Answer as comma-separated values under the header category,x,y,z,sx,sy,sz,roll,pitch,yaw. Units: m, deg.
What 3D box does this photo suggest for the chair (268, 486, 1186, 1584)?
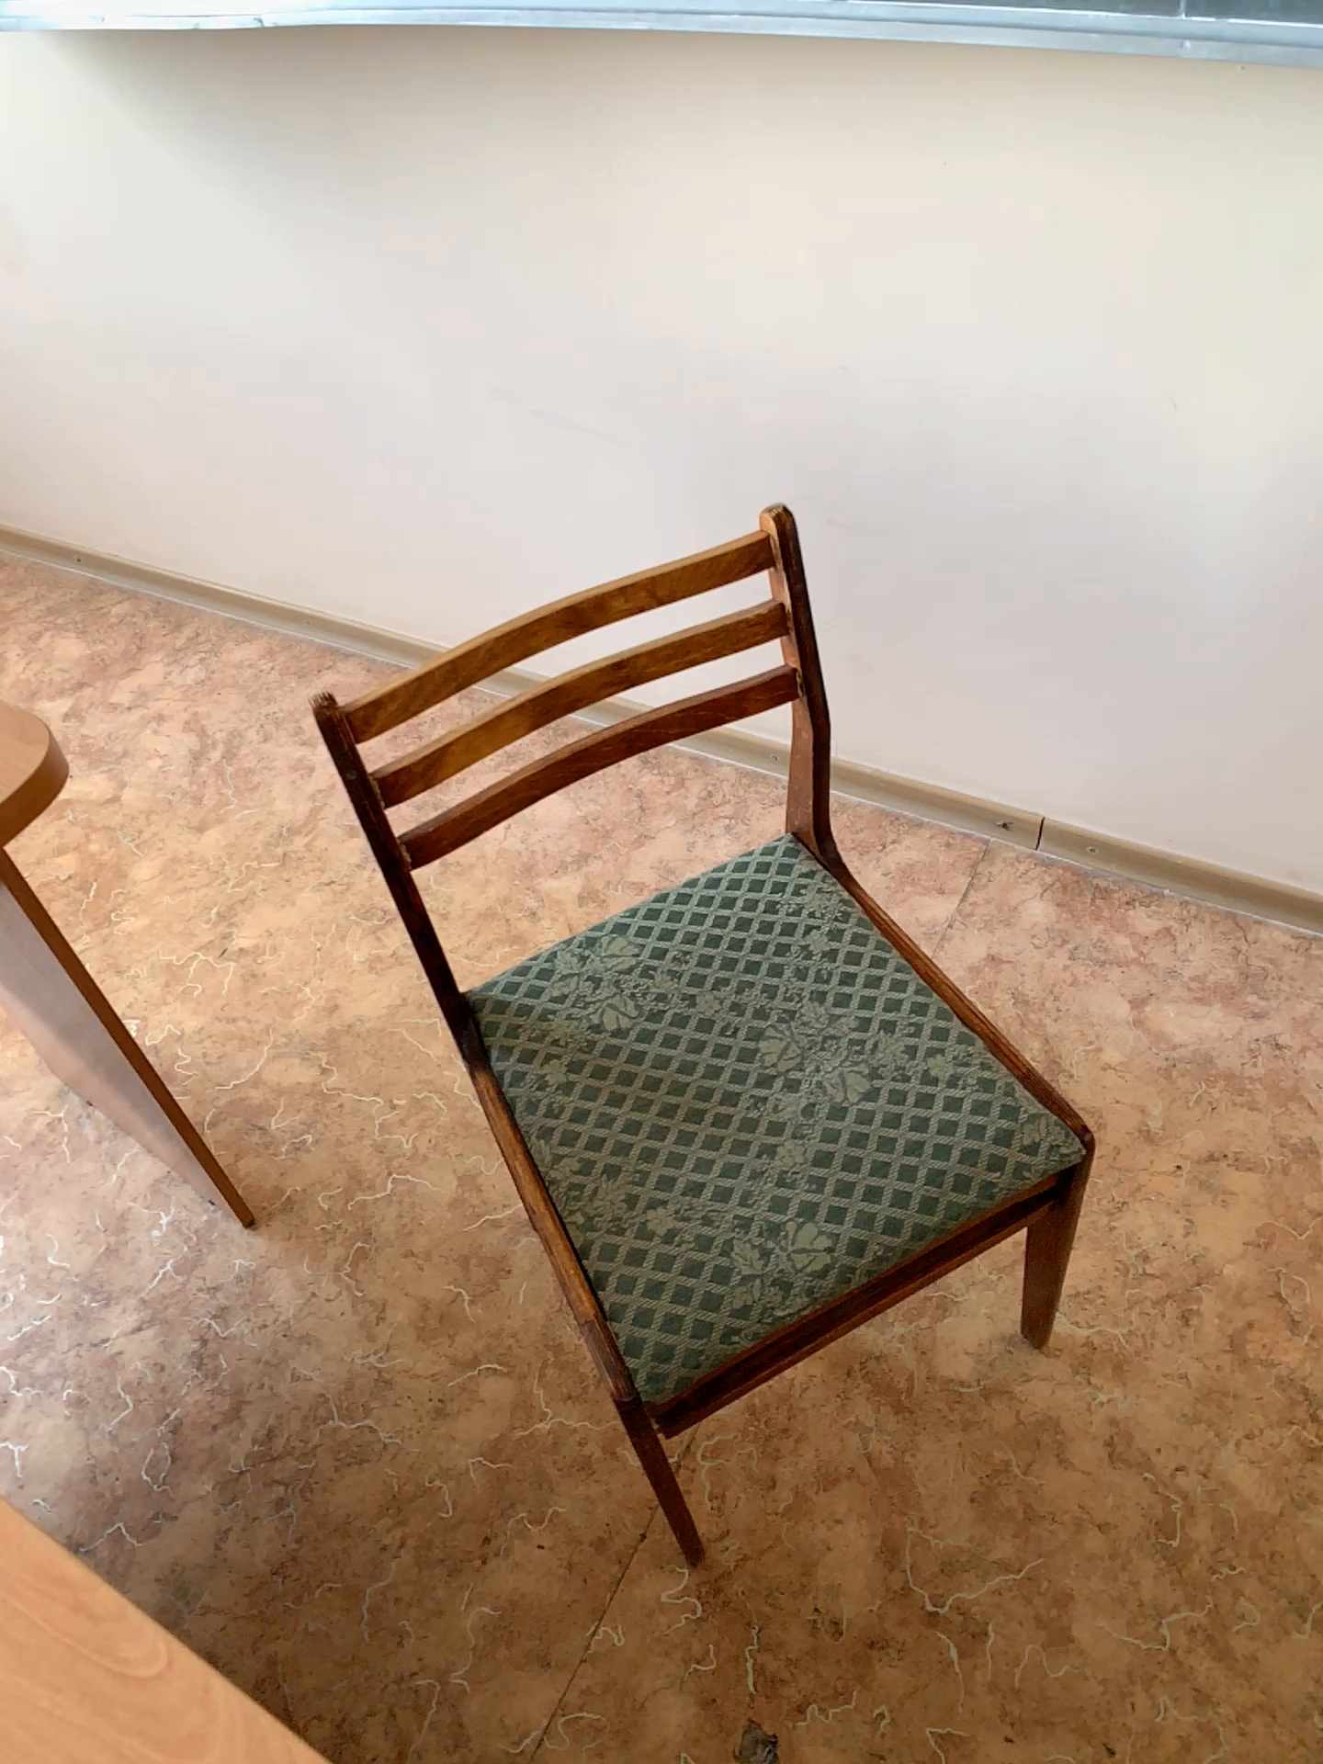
category,x,y,z,sx,sy,sz,roll,pitch,yaw
chair,0.053,0.155,1.062,0.401,0.704,0.404,-26,50,-14
